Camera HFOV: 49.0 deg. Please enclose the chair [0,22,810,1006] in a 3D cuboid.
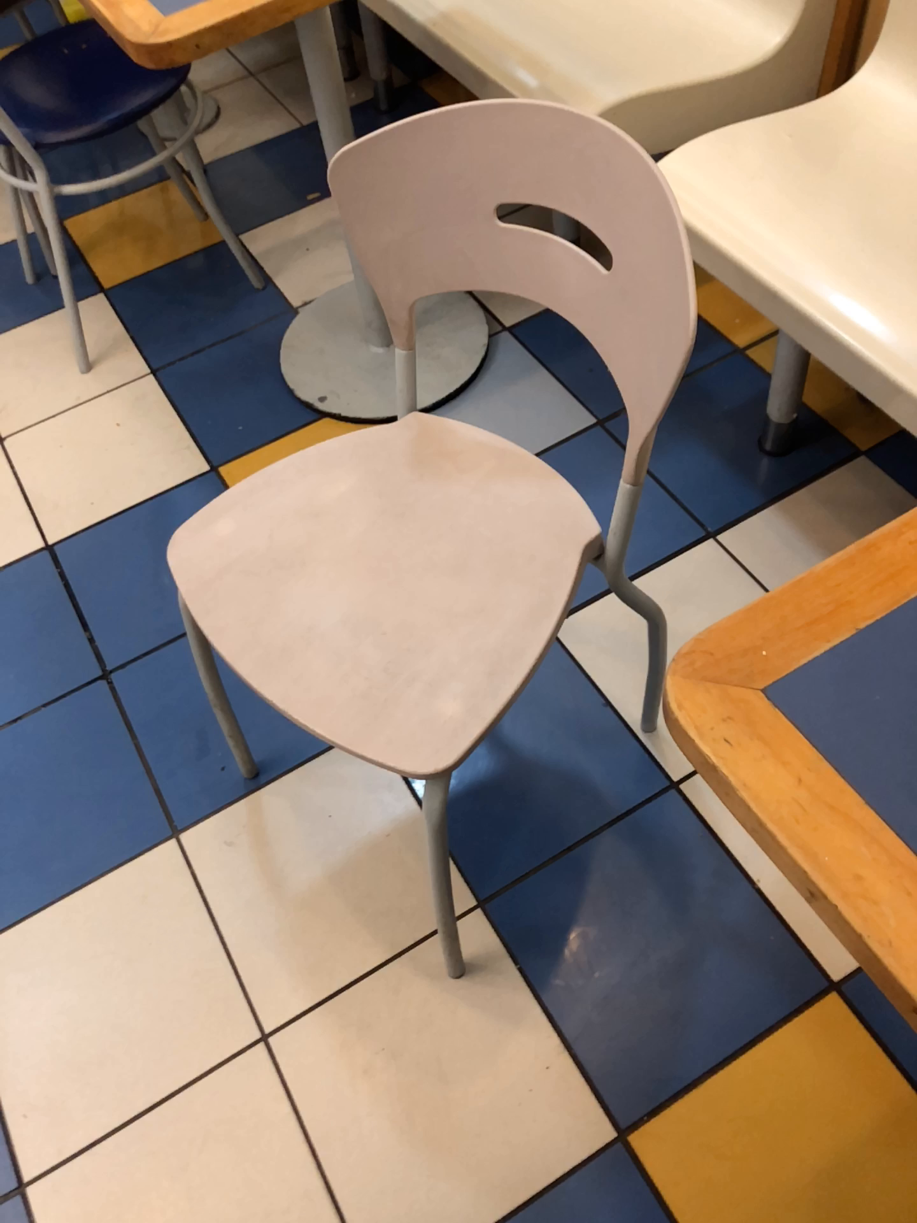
[{"bbox_3d":[-0.043,-0.035,1.039,0.471,0.795,0.452,-40,60,-20],"label":"chair"}]
